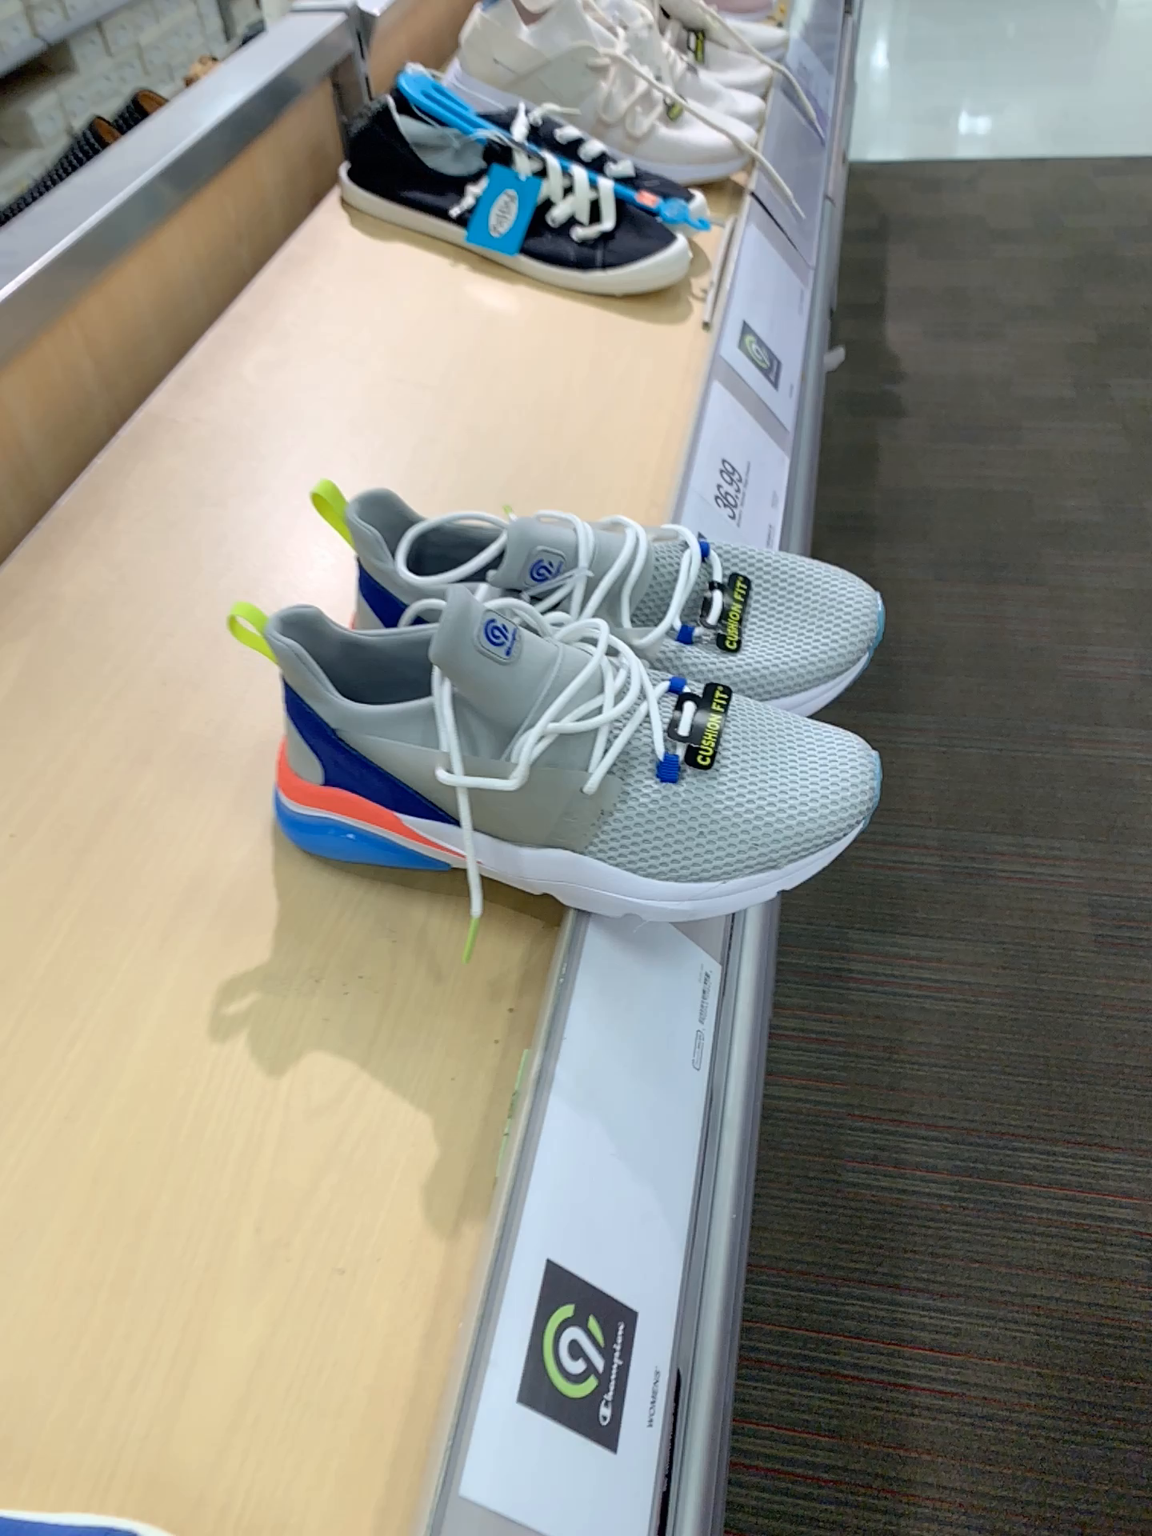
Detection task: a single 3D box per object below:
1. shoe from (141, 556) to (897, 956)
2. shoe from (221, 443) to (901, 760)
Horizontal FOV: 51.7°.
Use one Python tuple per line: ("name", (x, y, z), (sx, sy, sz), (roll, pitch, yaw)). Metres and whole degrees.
("shoe", (-0.014, -0.010, 0.481), (0.270, 0.090, 0.110), (5, 46, 11))
("shoe", (-0.003, -0.075, 0.539), (0.270, 0.090, 0.110), (0, 45, 6))
